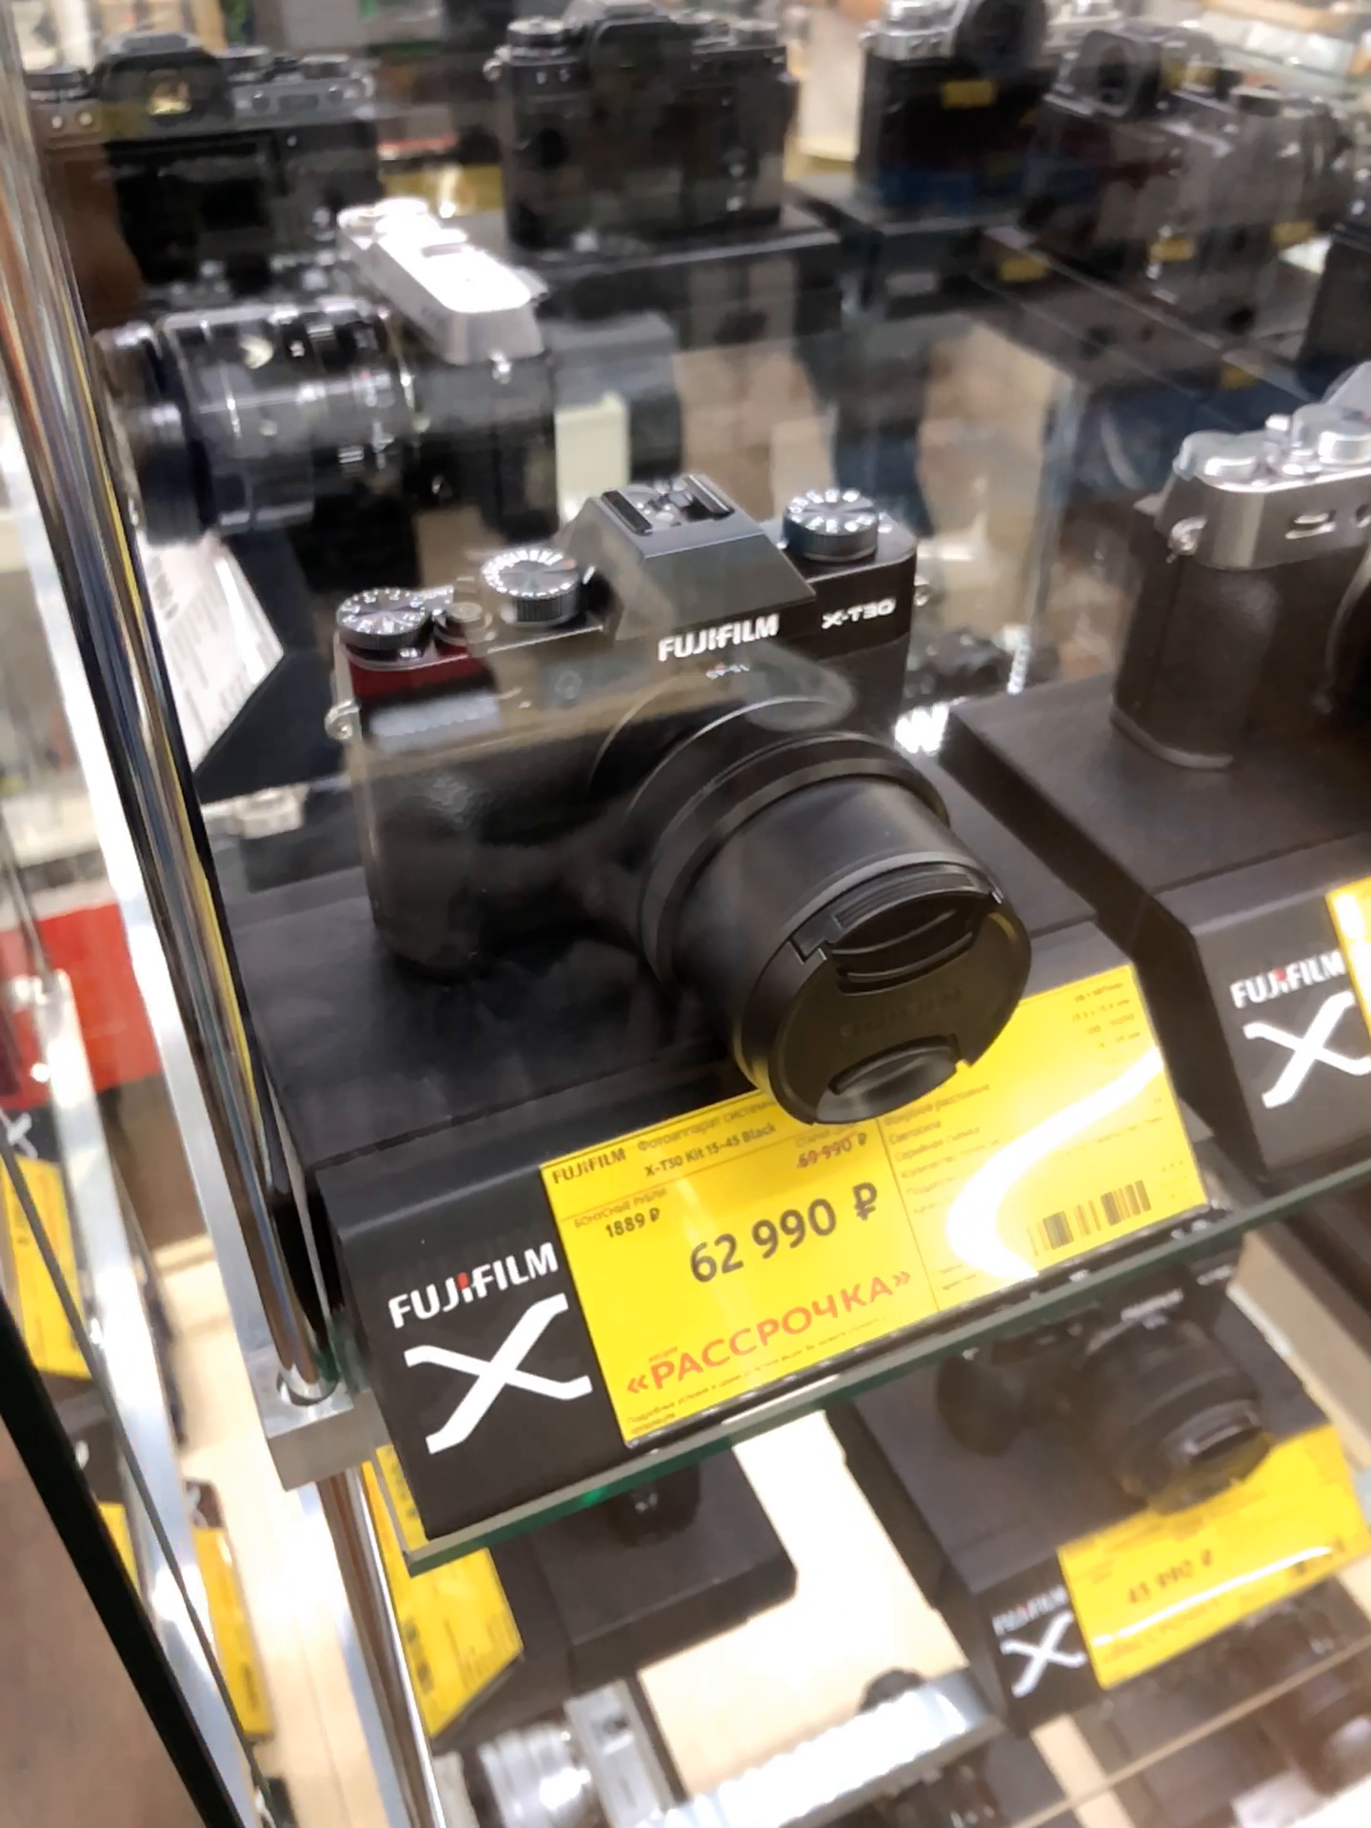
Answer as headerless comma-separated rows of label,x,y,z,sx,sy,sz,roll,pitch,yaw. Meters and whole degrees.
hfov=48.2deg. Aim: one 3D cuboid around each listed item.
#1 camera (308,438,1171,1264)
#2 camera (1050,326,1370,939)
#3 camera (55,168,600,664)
camera,0.004,-0.021,0.298,0.114,0.090,0.110,-17,42,-21
camera,0.168,-0.071,0.350,0.114,0.078,0.109,-14,41,-18
camera,-0.103,-0.151,0.449,0.120,0.090,0.114,-16,42,-20
